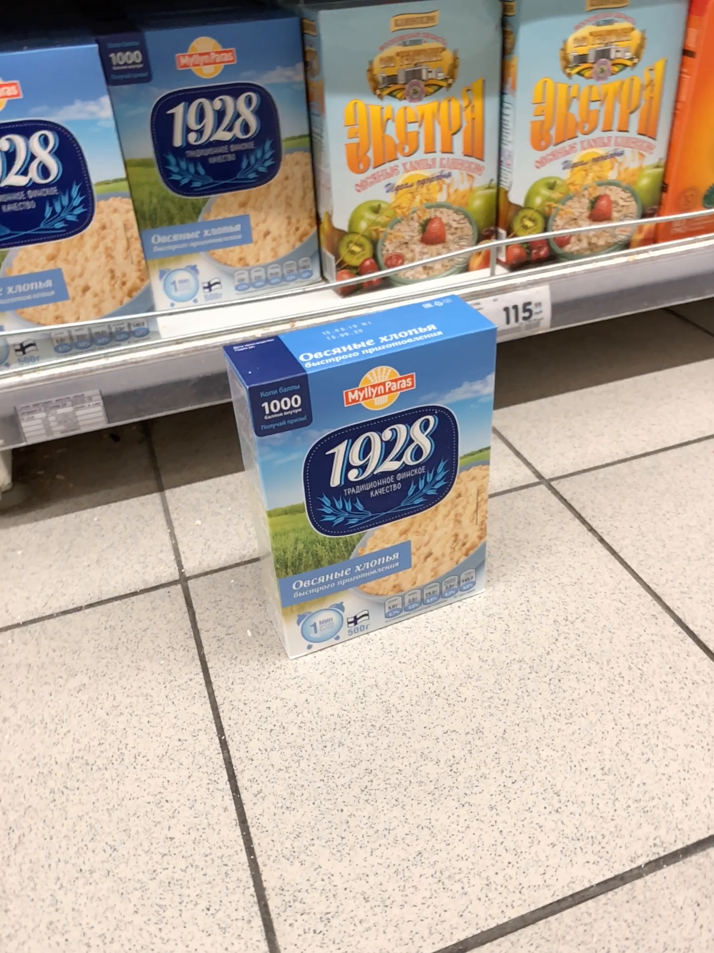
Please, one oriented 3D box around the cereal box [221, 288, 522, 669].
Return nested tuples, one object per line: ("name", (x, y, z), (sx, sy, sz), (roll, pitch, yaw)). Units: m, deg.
("cereal box", (0.013, 0.005, 0.482), (0.150, 0.199, 0.060), (-16, 38, -16))
